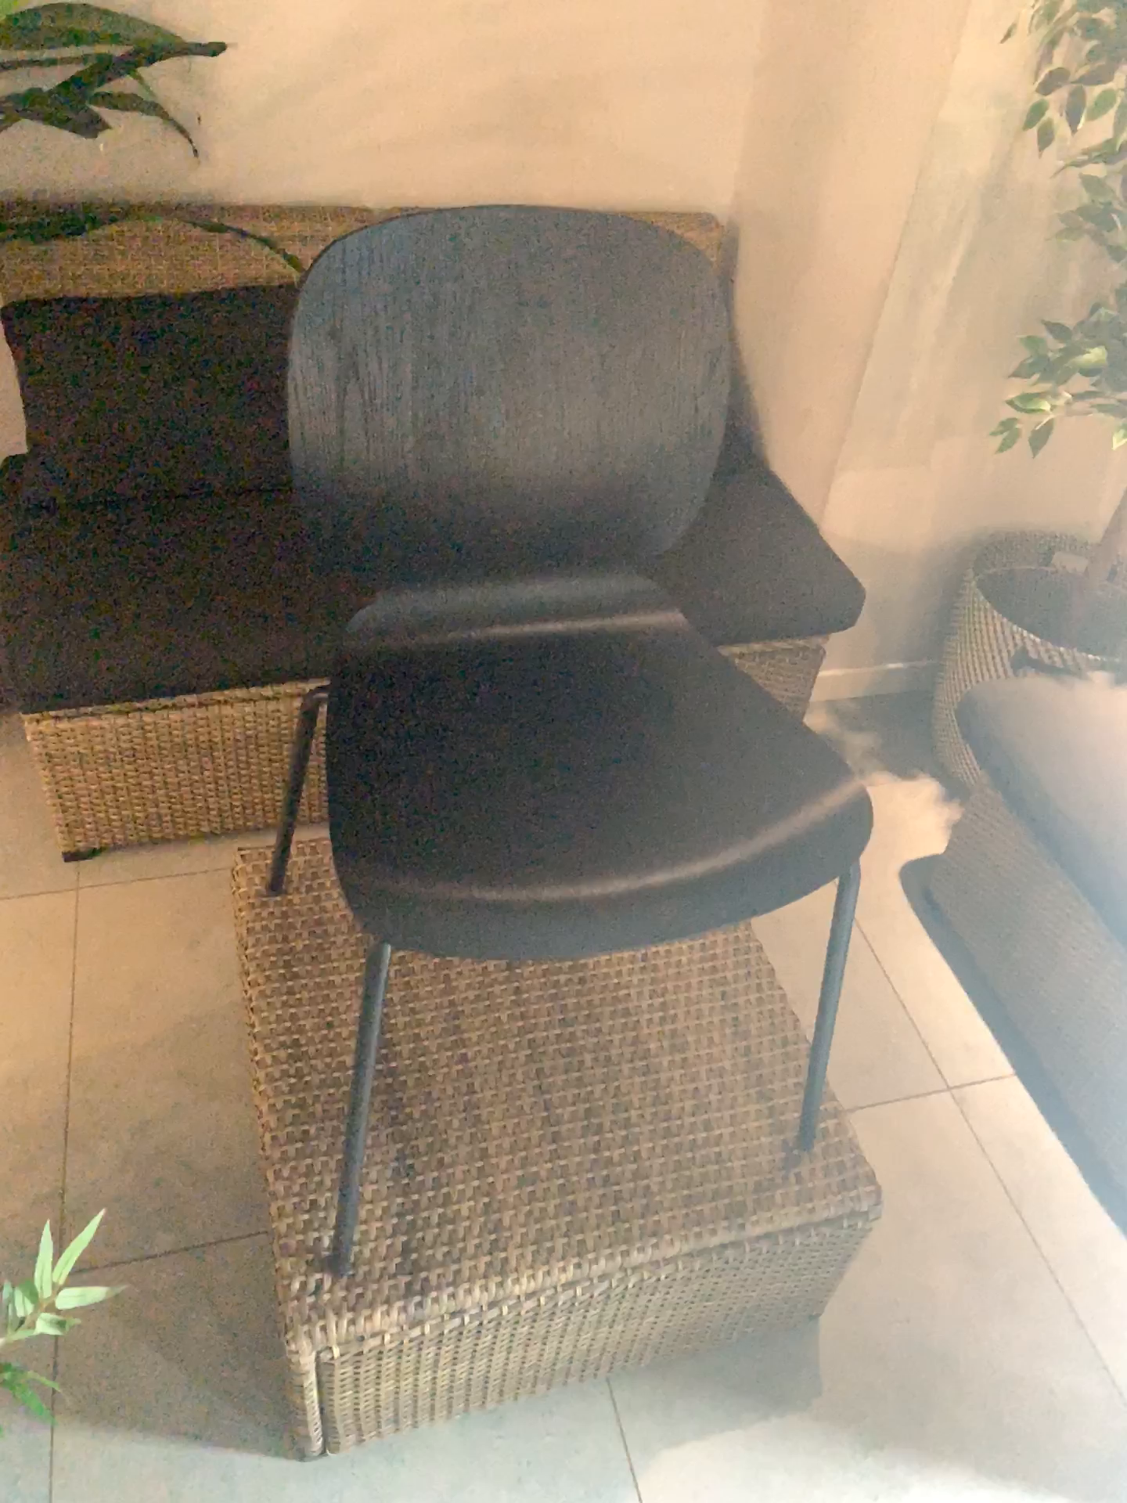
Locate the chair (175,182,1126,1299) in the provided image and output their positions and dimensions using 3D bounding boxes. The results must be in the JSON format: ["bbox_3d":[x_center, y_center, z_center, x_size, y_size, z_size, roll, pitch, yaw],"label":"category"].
[{"bbox_3d":[-0.010,-0.013,1.043,0.530,0.767,0.562,-8,45,-18],"label":"chair"}]
